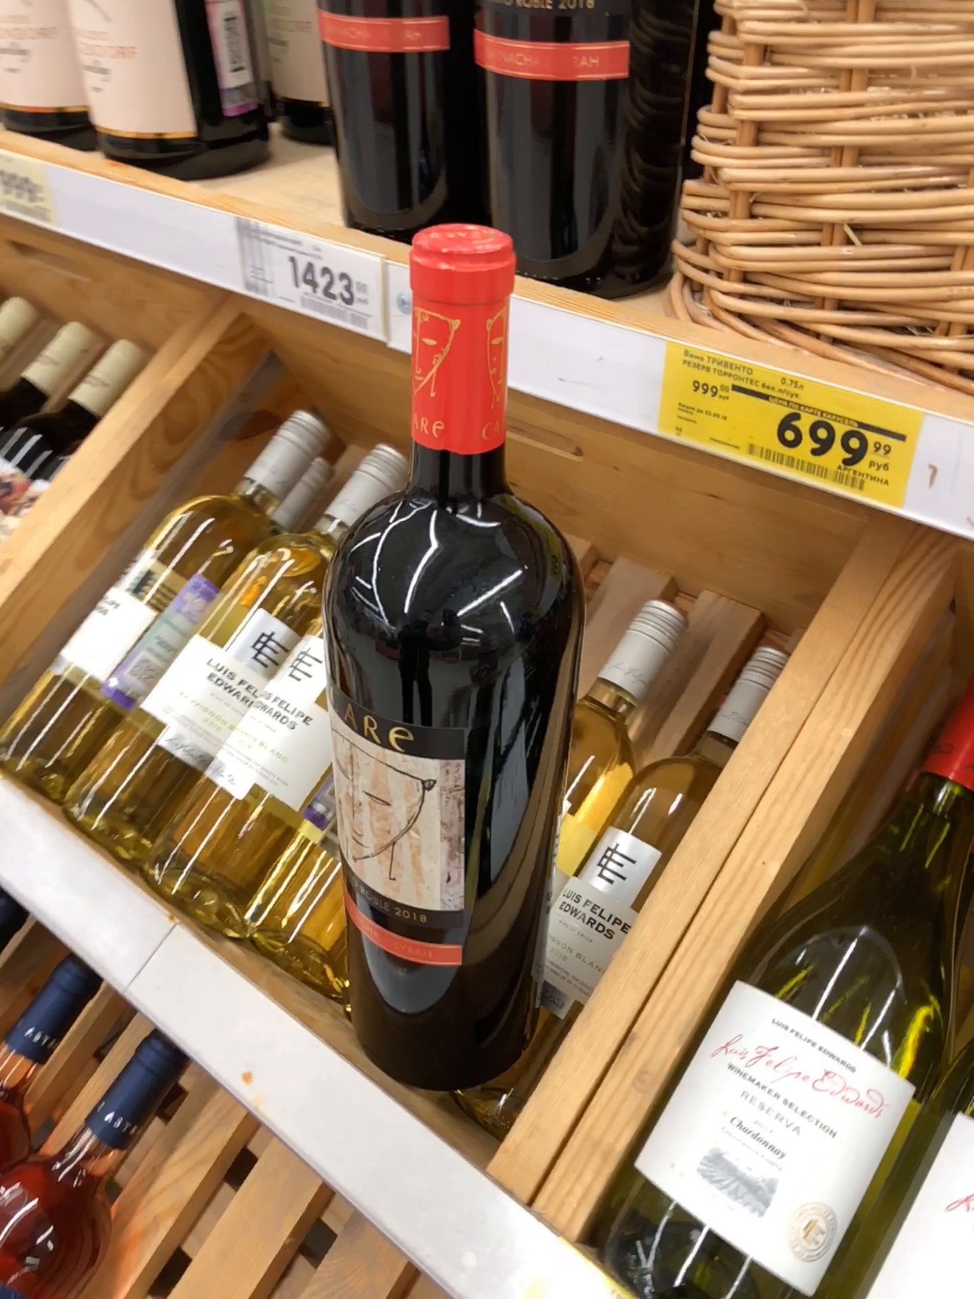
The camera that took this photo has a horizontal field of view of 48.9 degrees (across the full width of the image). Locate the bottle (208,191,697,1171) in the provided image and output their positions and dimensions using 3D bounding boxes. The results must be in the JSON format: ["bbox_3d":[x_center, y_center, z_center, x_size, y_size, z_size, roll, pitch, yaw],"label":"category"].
[{"bbox_3d":[-0.016,0.031,0.409,0.100,0.358,0.100,2,34,-1],"label":"bottle"}]
